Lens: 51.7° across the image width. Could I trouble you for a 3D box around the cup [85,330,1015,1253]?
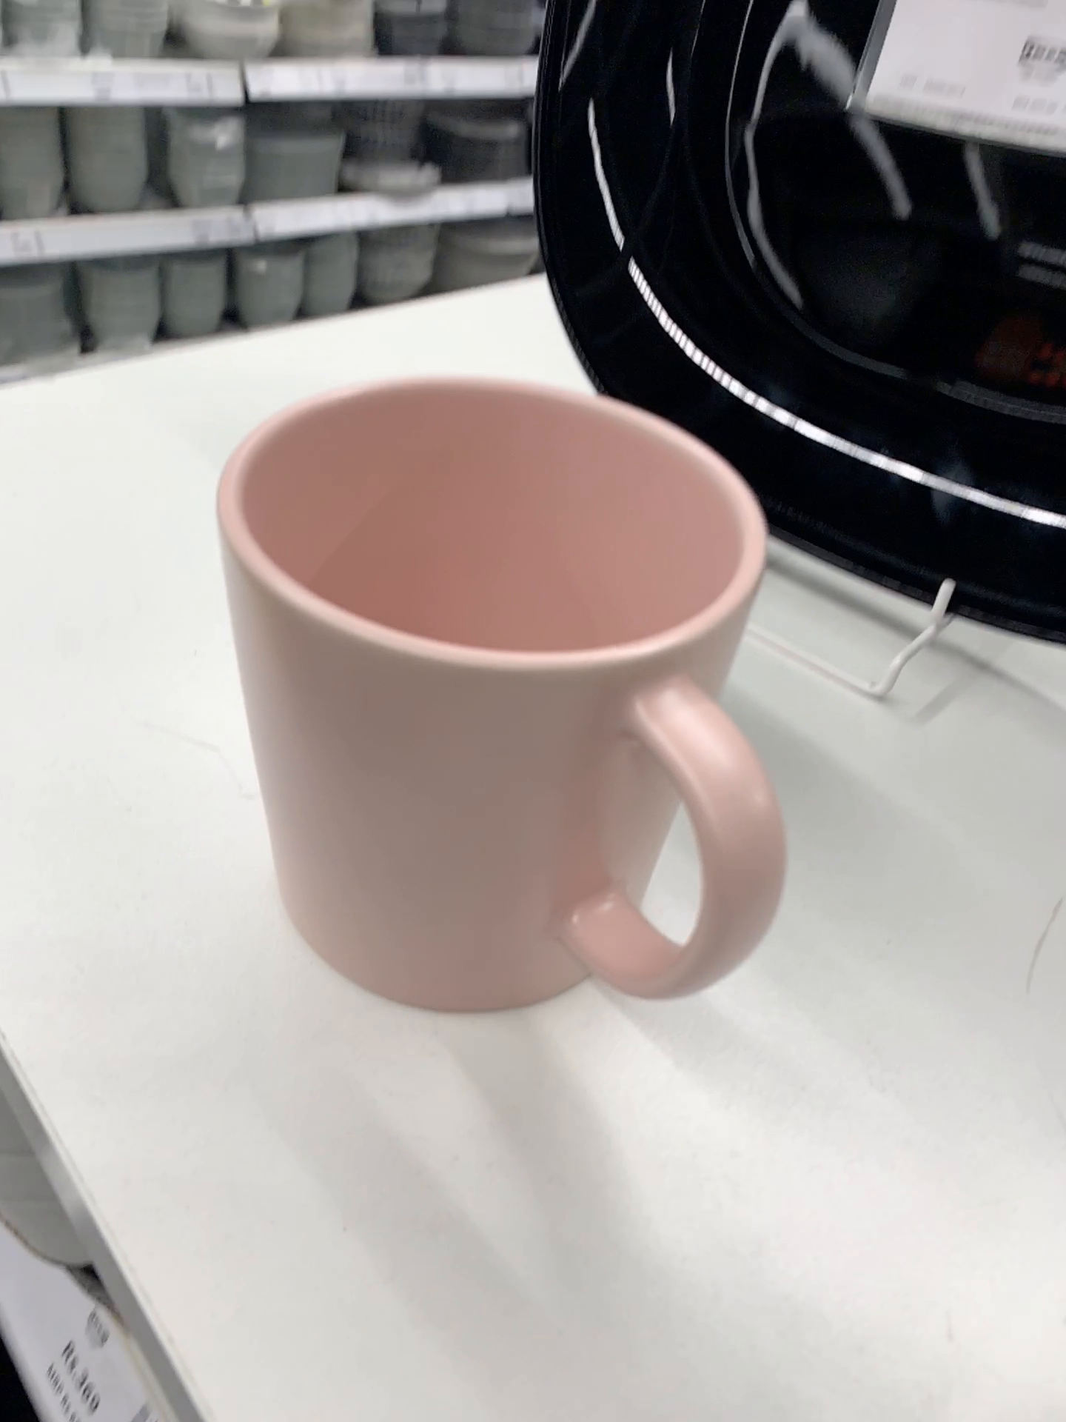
[{"bbox_3d":[-0.008,0.000,0.192,0.090,0.080,0.120,-18,47,-30],"label":"cup"}]
